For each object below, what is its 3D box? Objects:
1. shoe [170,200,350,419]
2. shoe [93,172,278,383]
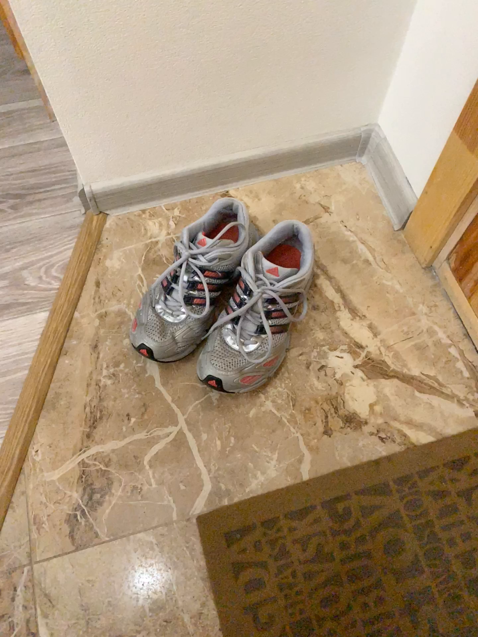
[{"bbox_3d":[0.031,-0.016,0.615,0.110,0.090,0.240,27,66,13],"label":"shoe"},{"bbox_3d":[-0.058,-0.057,0.632,0.110,0.090,0.240,28,67,13],"label":"shoe"}]
